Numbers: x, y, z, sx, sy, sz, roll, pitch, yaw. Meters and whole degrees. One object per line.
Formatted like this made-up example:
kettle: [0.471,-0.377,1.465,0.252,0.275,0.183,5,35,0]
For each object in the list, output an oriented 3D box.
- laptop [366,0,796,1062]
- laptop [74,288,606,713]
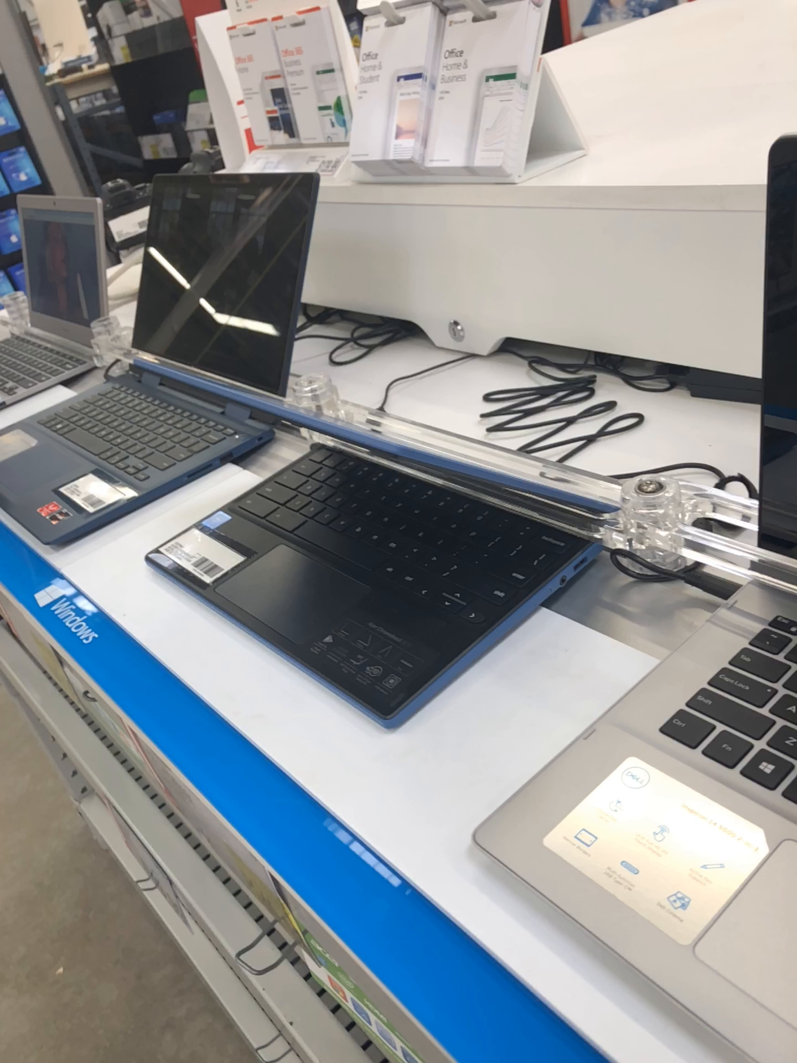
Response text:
laptop: [0.212,0.032,0.241,0.246,0.216,0.356,-34,35,-26]
laptop: [-0.045,-0.046,0.562,0.184,0.128,0.280,-35,37,-28]
